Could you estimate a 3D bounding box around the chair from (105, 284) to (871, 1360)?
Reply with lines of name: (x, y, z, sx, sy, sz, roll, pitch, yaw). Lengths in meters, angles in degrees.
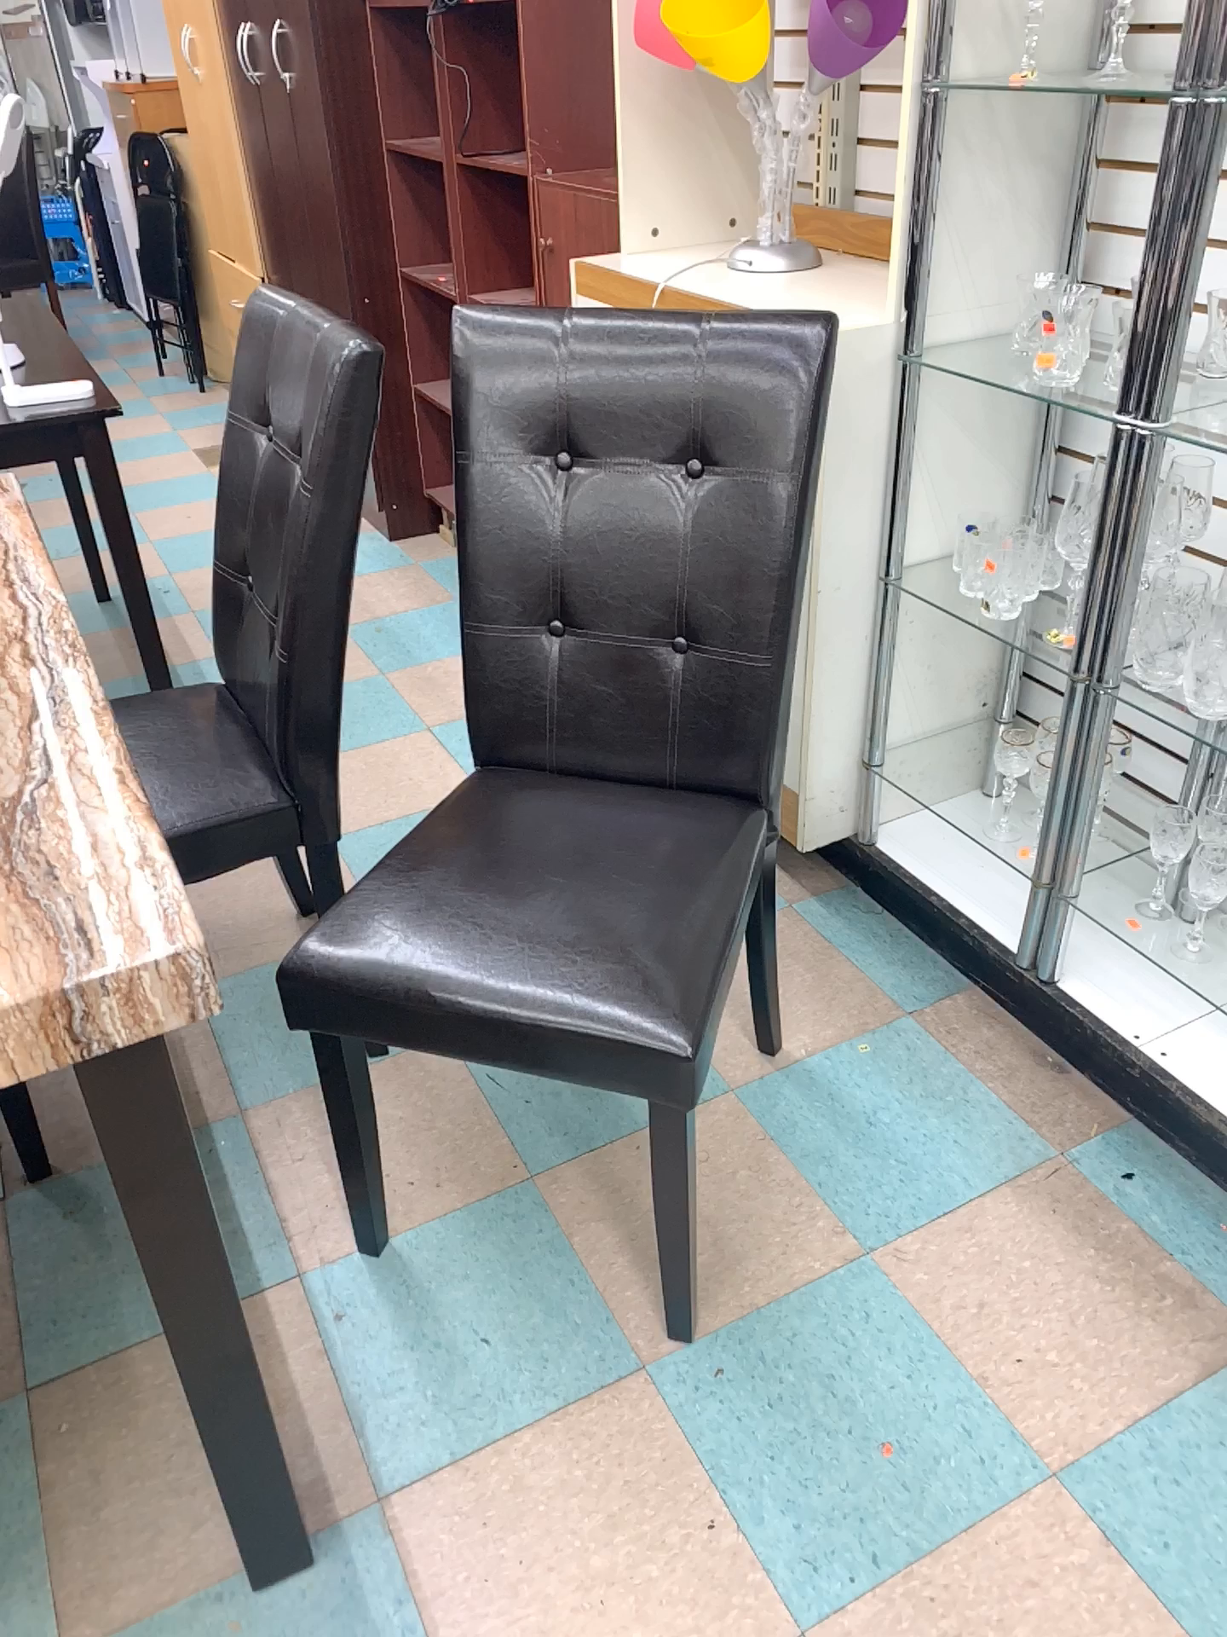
chair: (-0.049, -0.012, 1.344, 0.484, 0.949, 0.557, 9, 35, 17)
